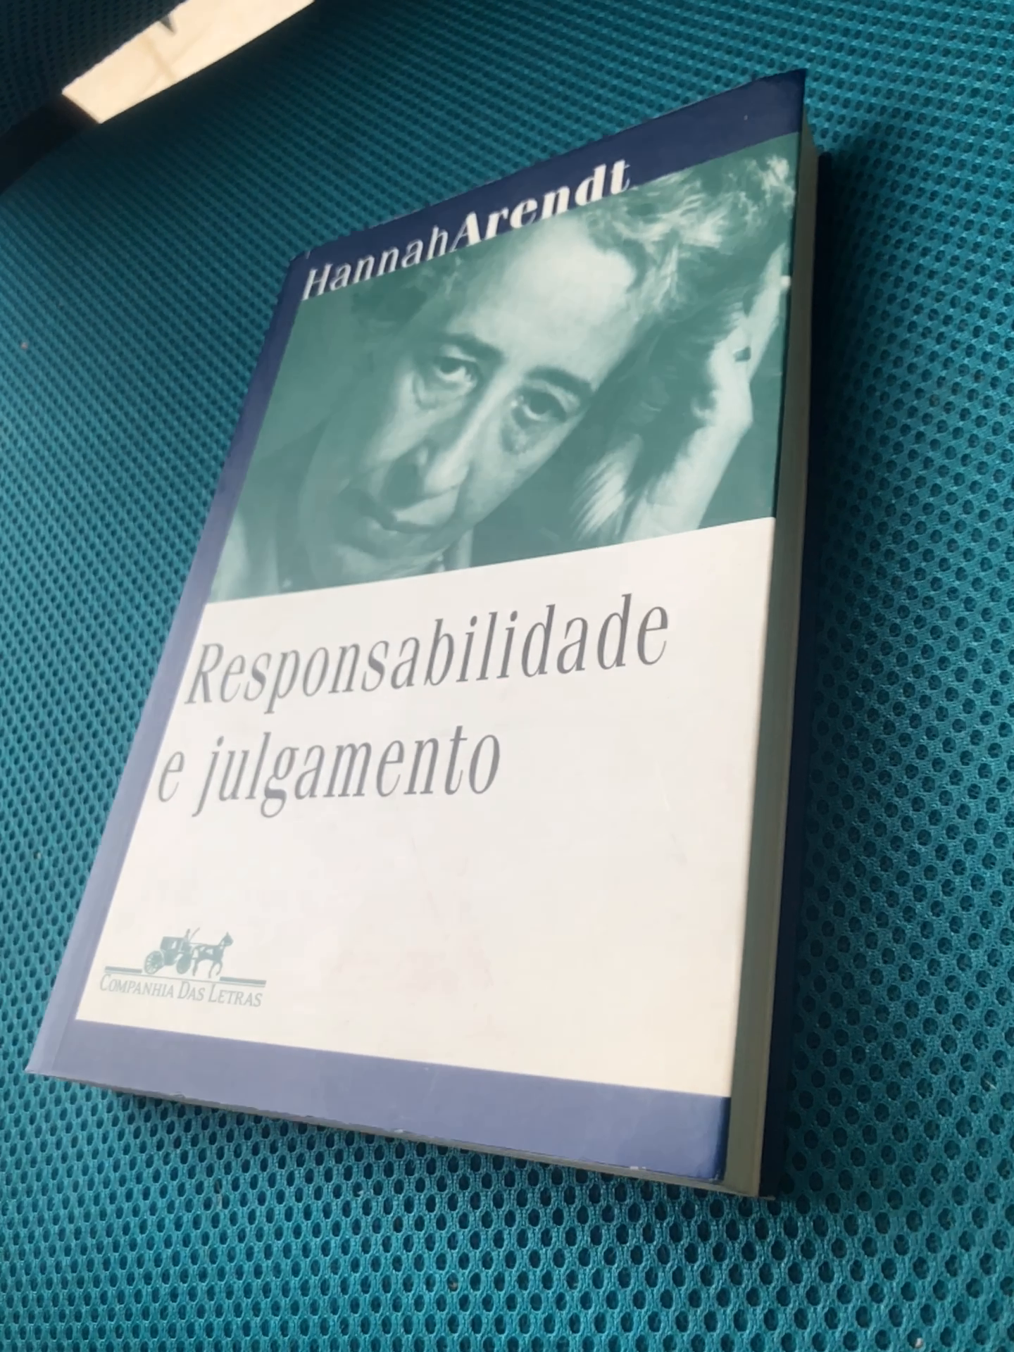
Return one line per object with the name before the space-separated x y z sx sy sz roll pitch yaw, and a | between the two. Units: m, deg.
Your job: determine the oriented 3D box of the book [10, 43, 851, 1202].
book | -0.009 -0.018 0.234 0.142 0.034 0.209 -6 61 32
